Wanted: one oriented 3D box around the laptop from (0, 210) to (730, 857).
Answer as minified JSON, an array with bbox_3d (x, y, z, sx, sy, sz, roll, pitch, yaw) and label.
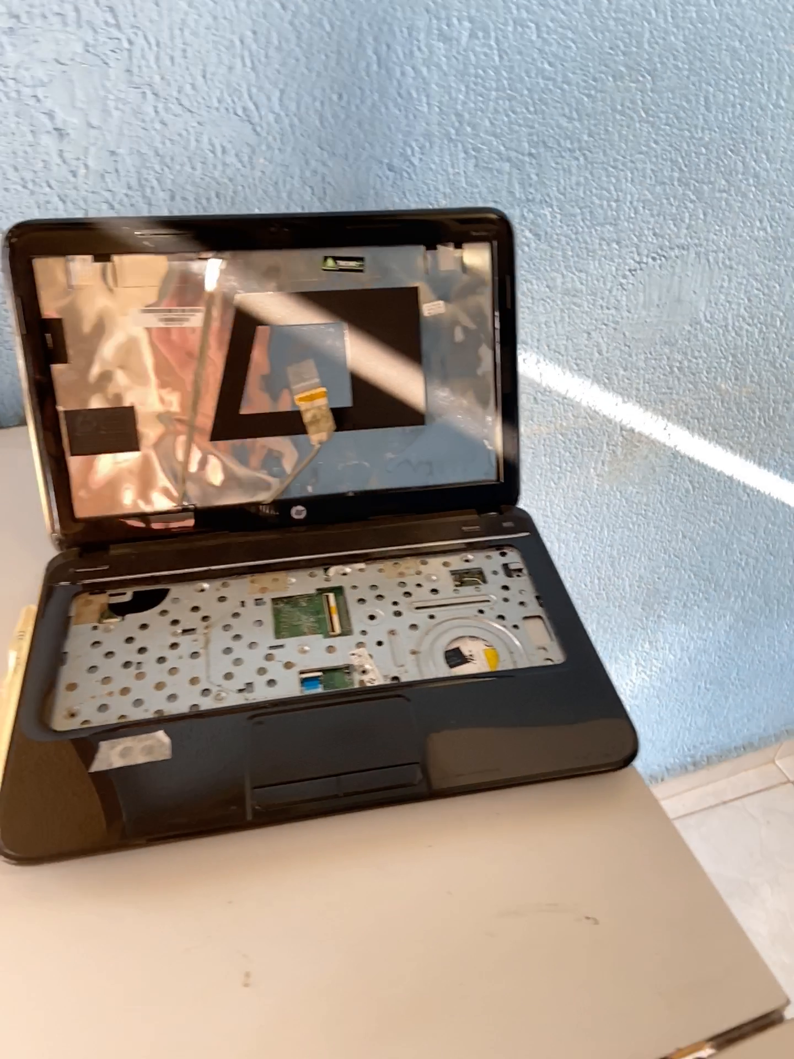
[{"bbox_3d":[-0.058,-0.035,0.488,0.335,0.186,0.325,-6,39,-9],"label":"laptop"}]
